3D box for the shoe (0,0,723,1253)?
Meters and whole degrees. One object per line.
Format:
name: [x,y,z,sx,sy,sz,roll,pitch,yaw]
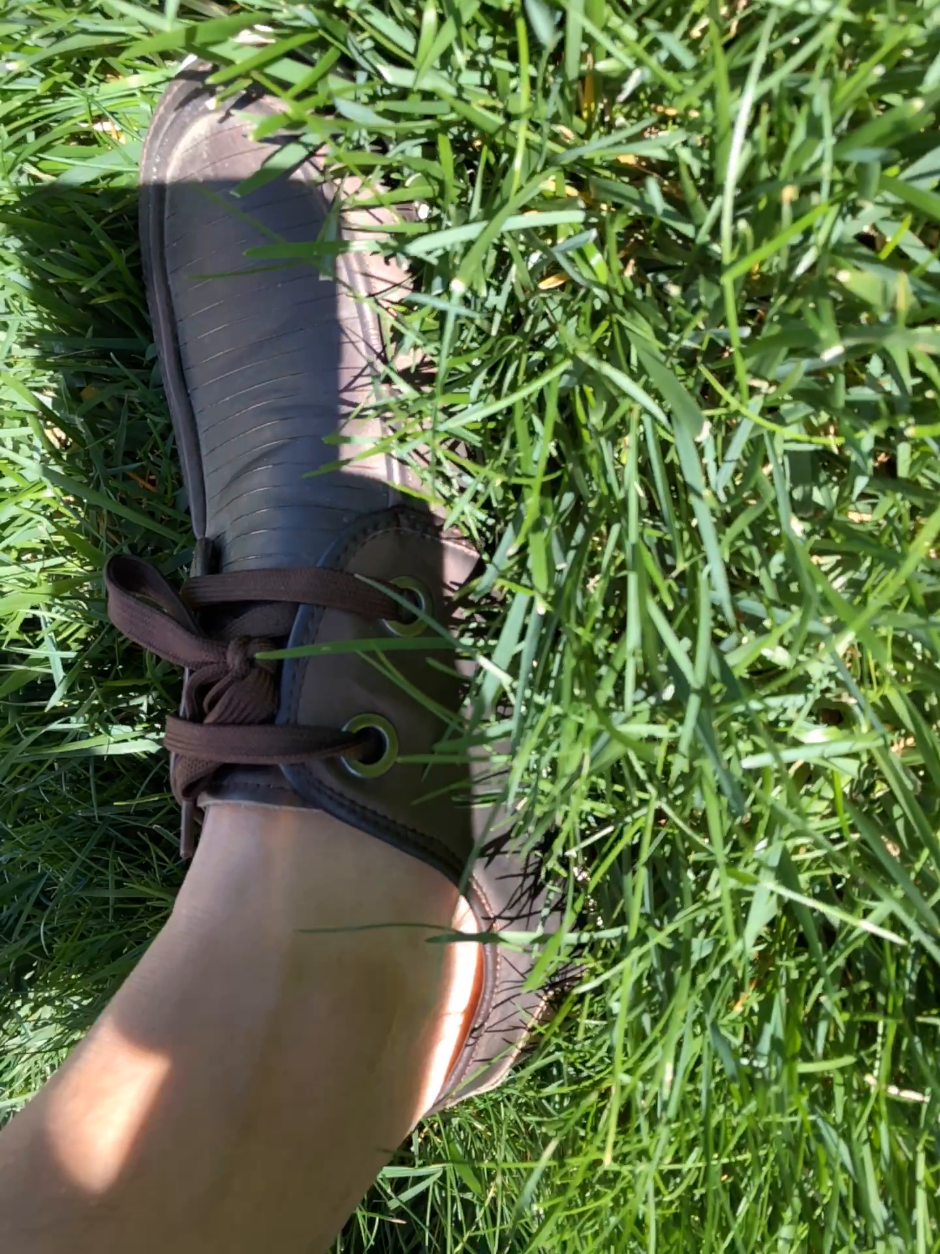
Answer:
shoe: [-0.029,0.009,0.256,0.112,0.093,0.280,-6,107,29]
